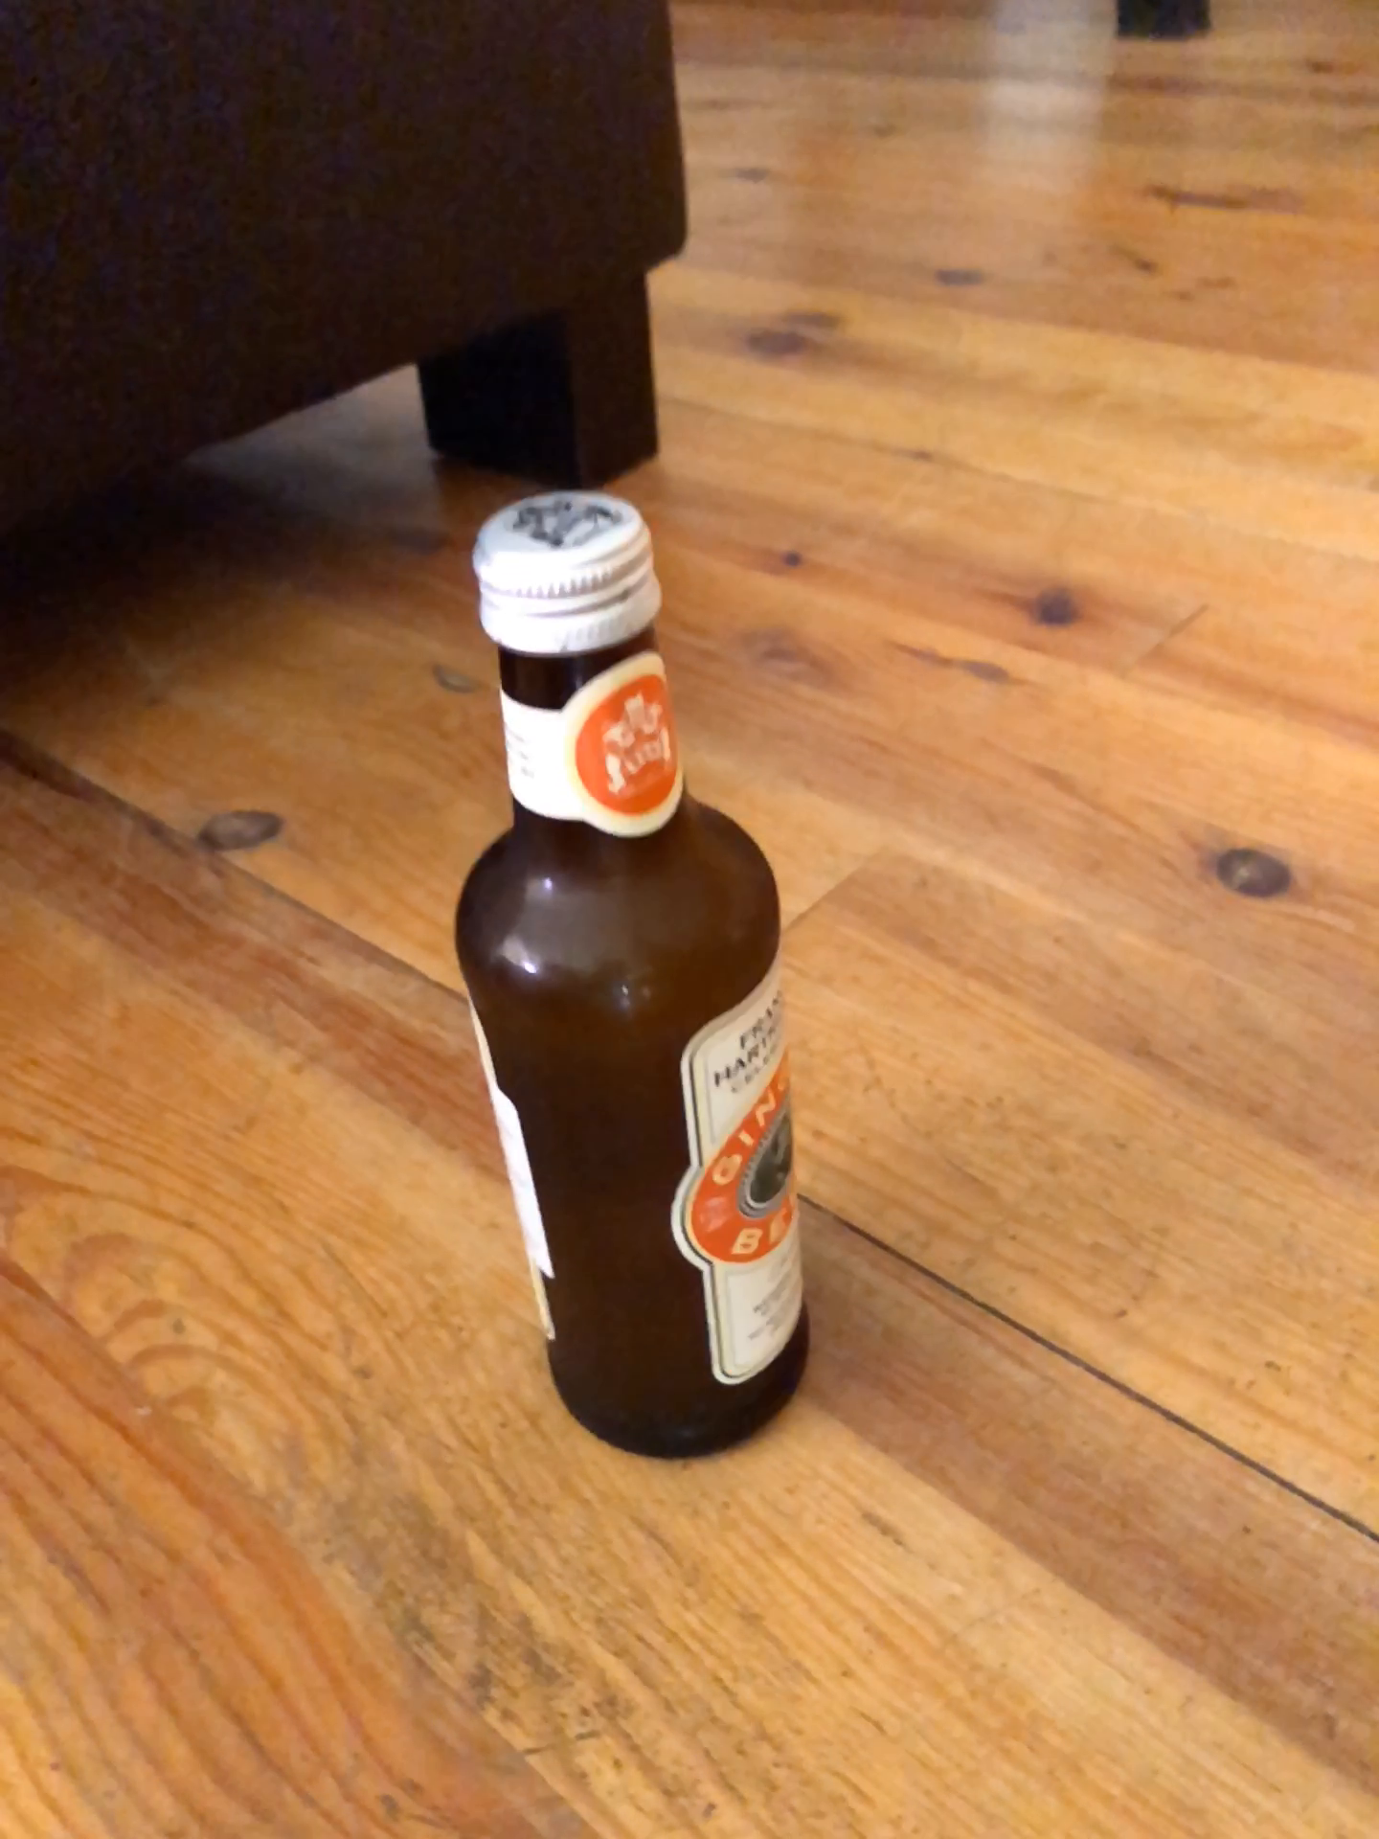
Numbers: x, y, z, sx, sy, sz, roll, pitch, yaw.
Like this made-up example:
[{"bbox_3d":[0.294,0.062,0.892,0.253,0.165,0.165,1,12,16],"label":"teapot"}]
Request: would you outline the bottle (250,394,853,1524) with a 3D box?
[{"bbox_3d":[-0.012,0.018,0.294,0.060,0.209,0.070,12,41,23],"label":"bottle"}]
